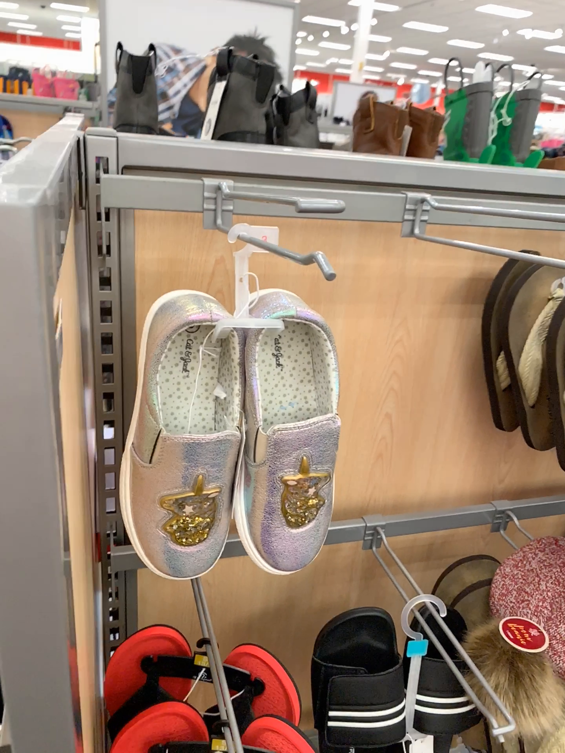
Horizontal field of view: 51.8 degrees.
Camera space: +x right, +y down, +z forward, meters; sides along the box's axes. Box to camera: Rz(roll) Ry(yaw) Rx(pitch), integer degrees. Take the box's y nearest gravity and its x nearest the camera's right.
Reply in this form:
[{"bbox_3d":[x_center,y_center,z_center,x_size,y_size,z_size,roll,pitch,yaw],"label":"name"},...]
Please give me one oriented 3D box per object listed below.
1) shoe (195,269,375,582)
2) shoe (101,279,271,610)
[{"bbox_3d":[-0.009,0.033,0.480,0.100,0.220,0.114,-4,21,-21],"label":"shoe"},{"bbox_3d":[-0.082,0.045,0.456,0.100,0.220,0.114,-4,21,-21],"label":"shoe"}]
